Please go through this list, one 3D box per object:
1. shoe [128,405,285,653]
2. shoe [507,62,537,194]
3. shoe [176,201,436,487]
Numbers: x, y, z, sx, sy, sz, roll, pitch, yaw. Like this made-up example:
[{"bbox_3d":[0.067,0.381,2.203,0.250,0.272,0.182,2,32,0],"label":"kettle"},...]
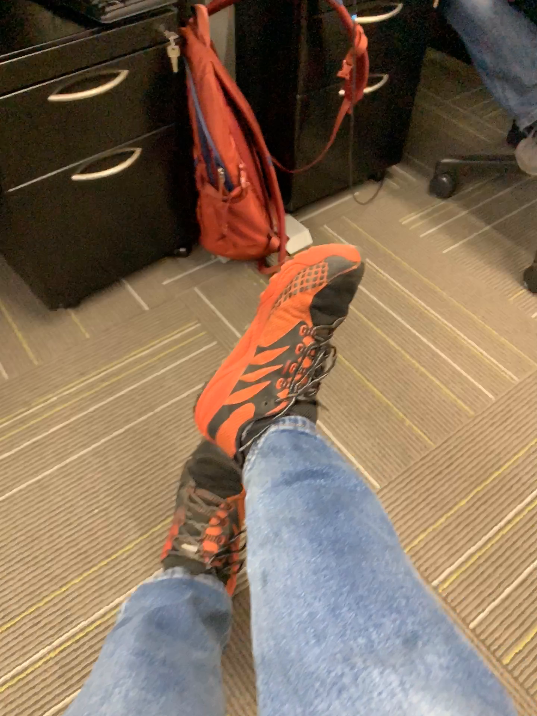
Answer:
[{"bbox_3d":[-0.081,0.231,0.799,0.129,0.135,0.289,14,93,9],"label":"shoe"},{"bbox_3d":[0.887,-0.641,1.595,0.155,0.356,0.165,-32,91,-7],"label":"shoe"},{"bbox_3d":[0.034,-0.012,0.675,0.143,0.303,0.118,45,29,23],"label":"shoe"}]
